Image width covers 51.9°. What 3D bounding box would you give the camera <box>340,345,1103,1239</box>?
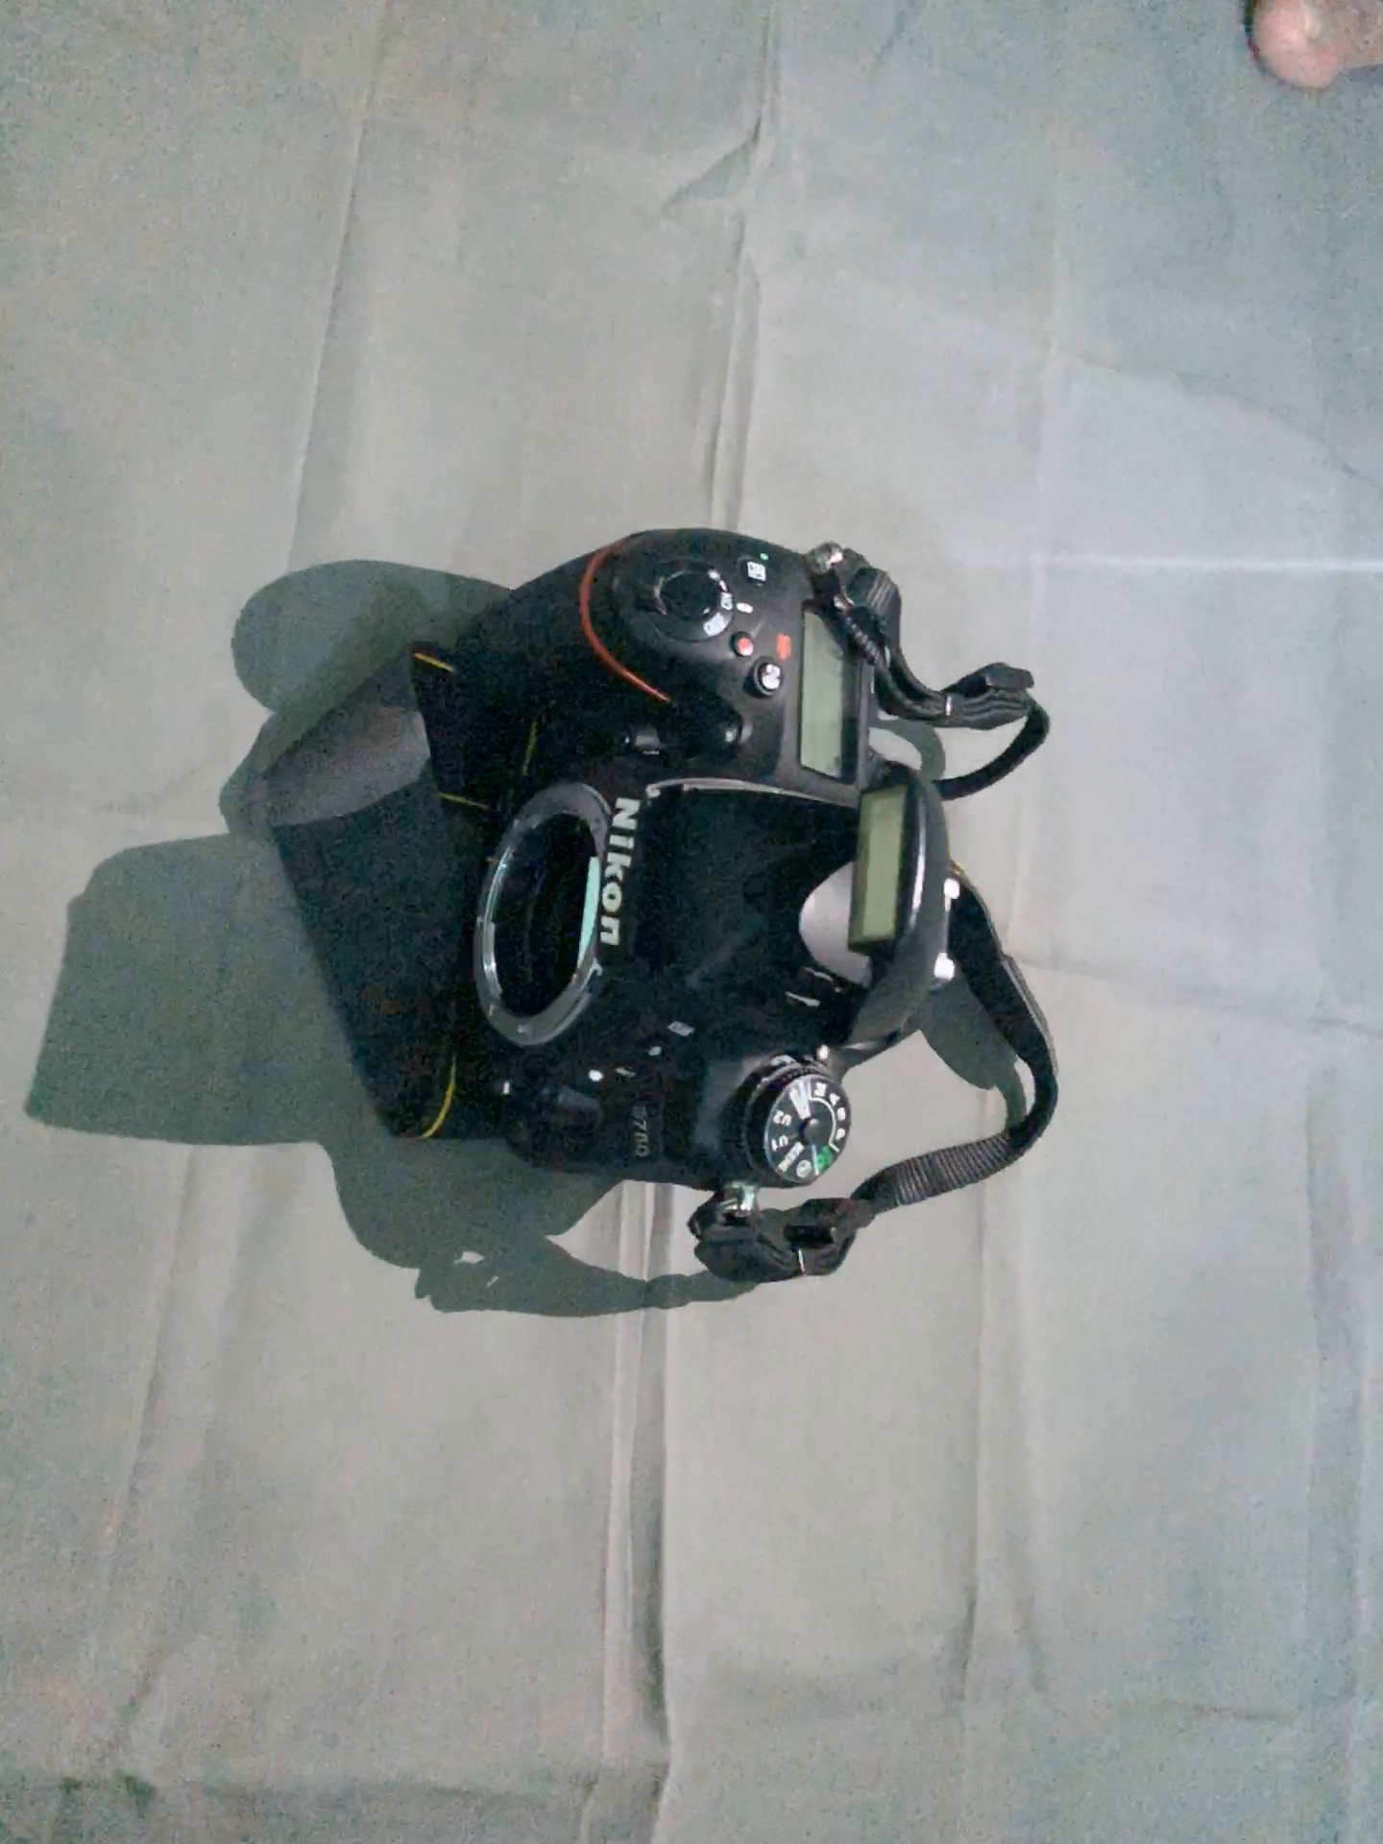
[{"bbox_3d":[0.002,-0.012,0.304,0.101,0.126,0.140,13,76,-27],"label":"camera"}]
